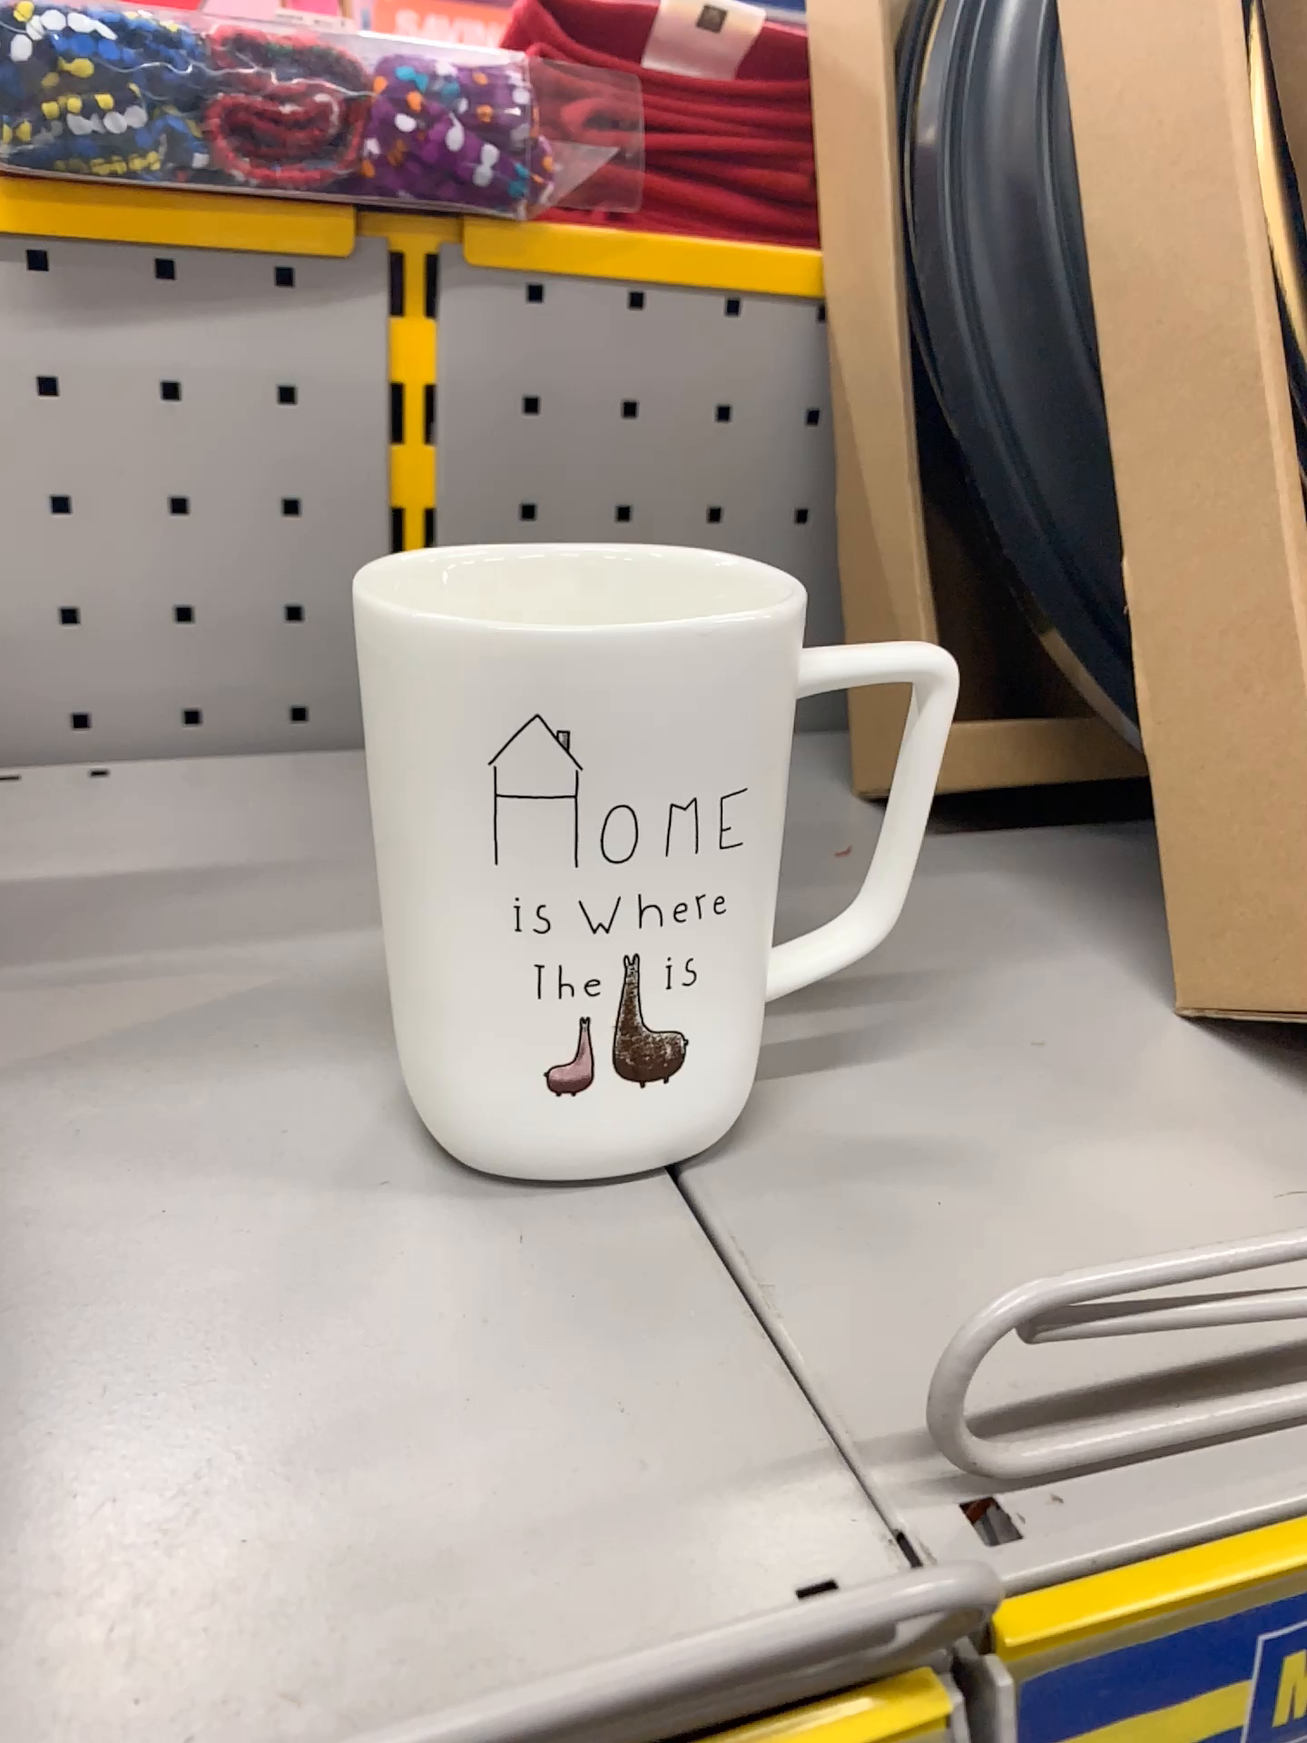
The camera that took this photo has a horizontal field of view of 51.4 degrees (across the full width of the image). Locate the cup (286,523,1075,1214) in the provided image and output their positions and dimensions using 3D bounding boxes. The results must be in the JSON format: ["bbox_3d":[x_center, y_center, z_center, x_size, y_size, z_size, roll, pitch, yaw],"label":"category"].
[{"bbox_3d":[-0.002,-0.008,0.254,0.120,0.100,0.070,-4,24,-20],"label":"cup"}]
